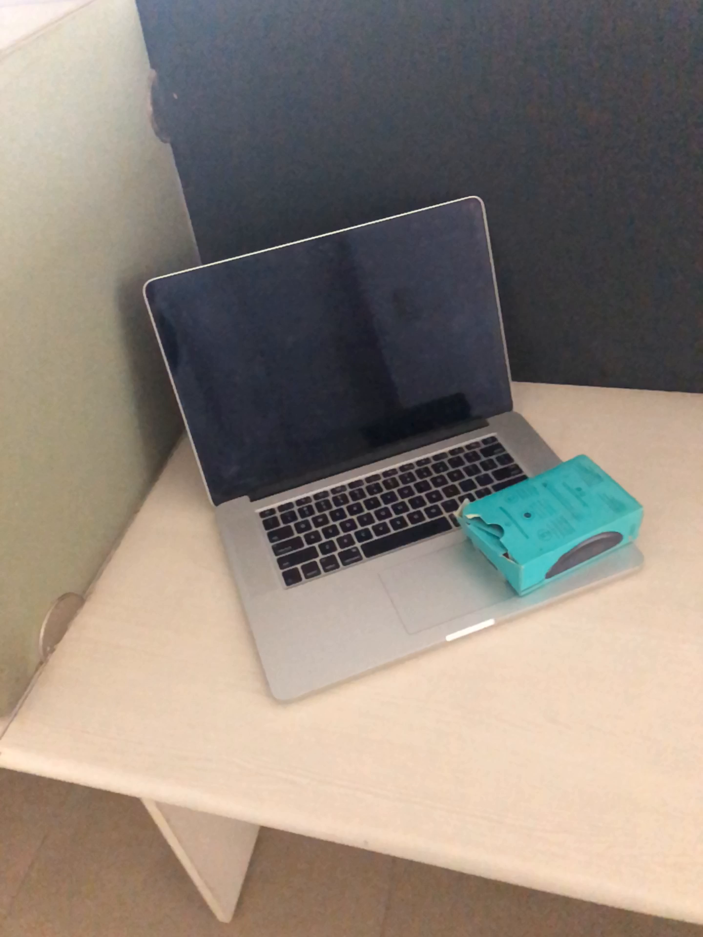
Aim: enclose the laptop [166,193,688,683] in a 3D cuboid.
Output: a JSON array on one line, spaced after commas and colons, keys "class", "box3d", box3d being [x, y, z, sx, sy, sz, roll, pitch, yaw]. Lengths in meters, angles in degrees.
[{"class": "laptop", "box3d": [0.044, -0.052, 0.718, 0.328, 0.200, 0.340, -17, 45, -10]}]
